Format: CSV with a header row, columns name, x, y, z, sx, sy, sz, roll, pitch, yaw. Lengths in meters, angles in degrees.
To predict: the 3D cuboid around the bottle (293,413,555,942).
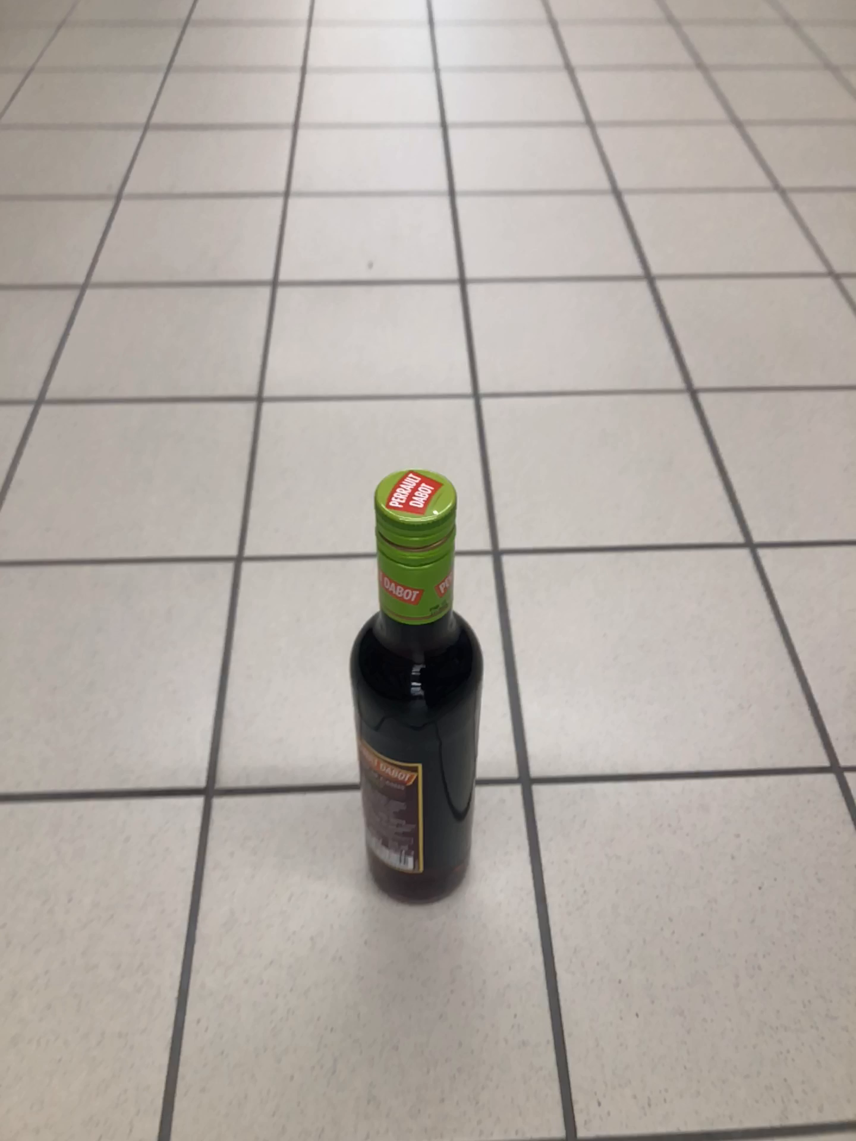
name,x,y,z,sx,sy,sz,roll,pitch,yaw
bottle,-0.002,0.071,0.458,0.070,0.288,0.070,0,46,0
